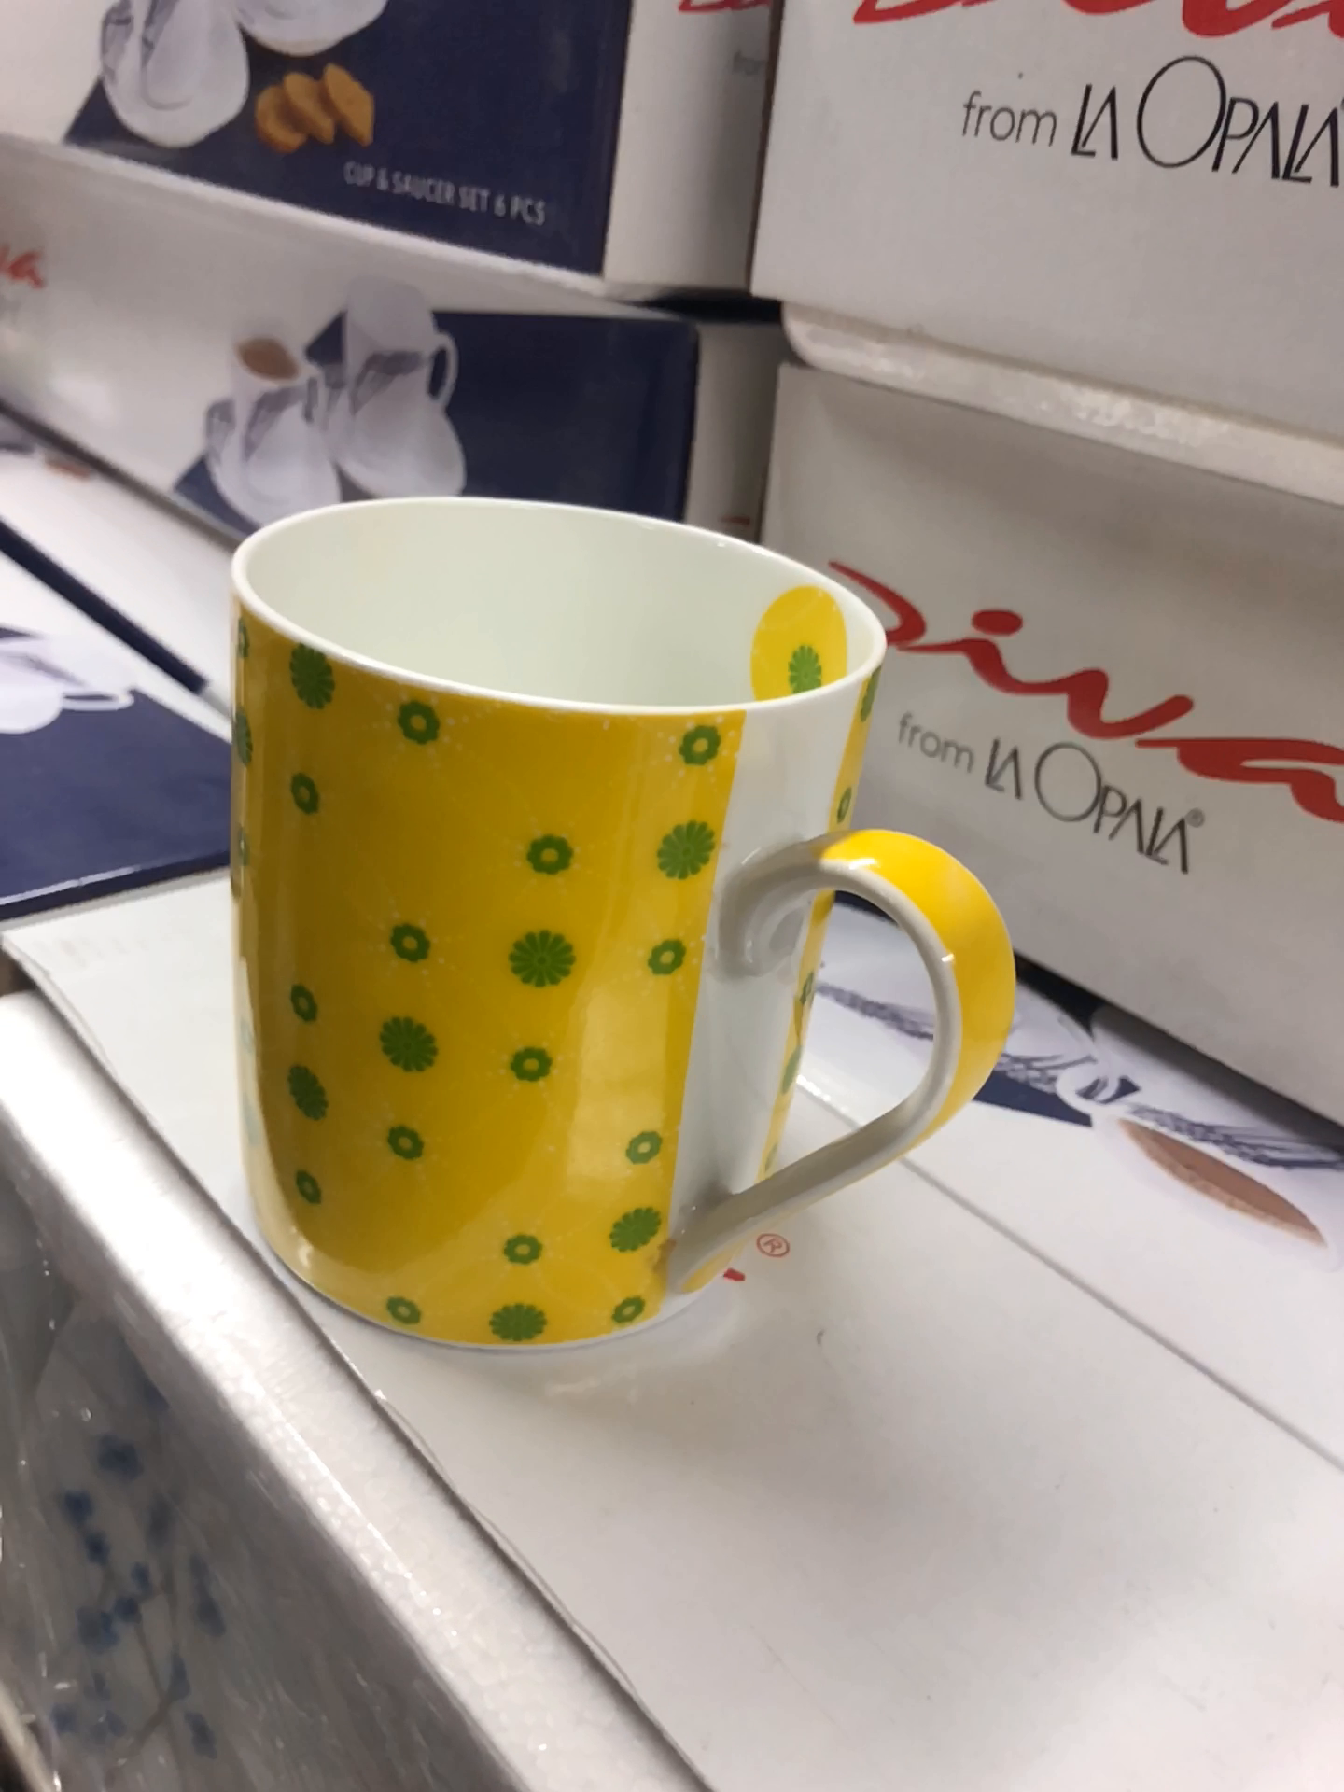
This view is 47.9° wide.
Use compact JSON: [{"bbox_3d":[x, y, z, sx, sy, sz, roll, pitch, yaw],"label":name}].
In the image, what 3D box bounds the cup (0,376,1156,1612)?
[{"bbox_3d":[-0.017,-0.002,0.159,0.070,0.080,0.090,-20,38,-39],"label":"cup"}]
